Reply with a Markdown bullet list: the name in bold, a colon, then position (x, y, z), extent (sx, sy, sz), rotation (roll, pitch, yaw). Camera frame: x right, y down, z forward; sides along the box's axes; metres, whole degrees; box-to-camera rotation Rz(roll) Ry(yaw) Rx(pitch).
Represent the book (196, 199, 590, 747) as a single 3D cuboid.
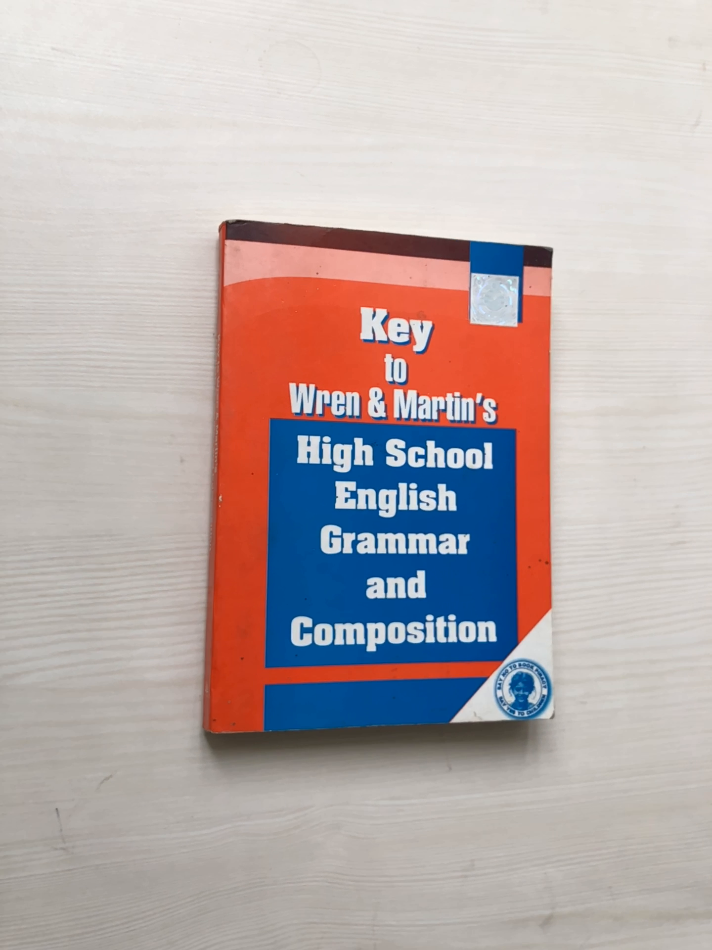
- **book**: position (0.015, 0.001, 0.277), extent (0.130, 0.030, 0.170), rotation (3, 85, -14)
